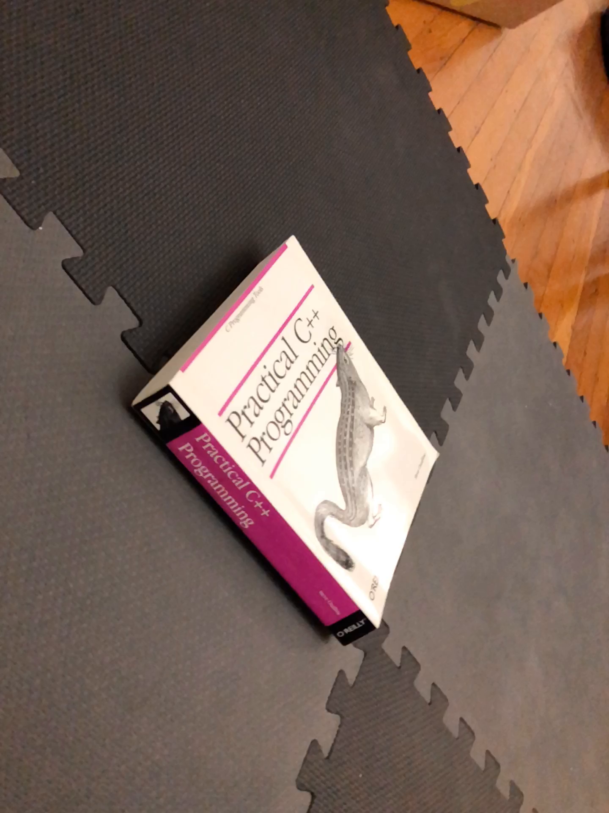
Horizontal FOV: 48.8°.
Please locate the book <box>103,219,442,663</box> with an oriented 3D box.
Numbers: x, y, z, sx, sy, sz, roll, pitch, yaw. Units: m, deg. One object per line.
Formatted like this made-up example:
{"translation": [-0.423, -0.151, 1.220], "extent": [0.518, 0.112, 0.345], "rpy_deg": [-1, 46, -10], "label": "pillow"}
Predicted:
{"translation": [0.004, 0.023, 0.488], "extent": [0.250, 0.050, 0.201], "rpy_deg": [54, 38, -24], "label": "book"}
